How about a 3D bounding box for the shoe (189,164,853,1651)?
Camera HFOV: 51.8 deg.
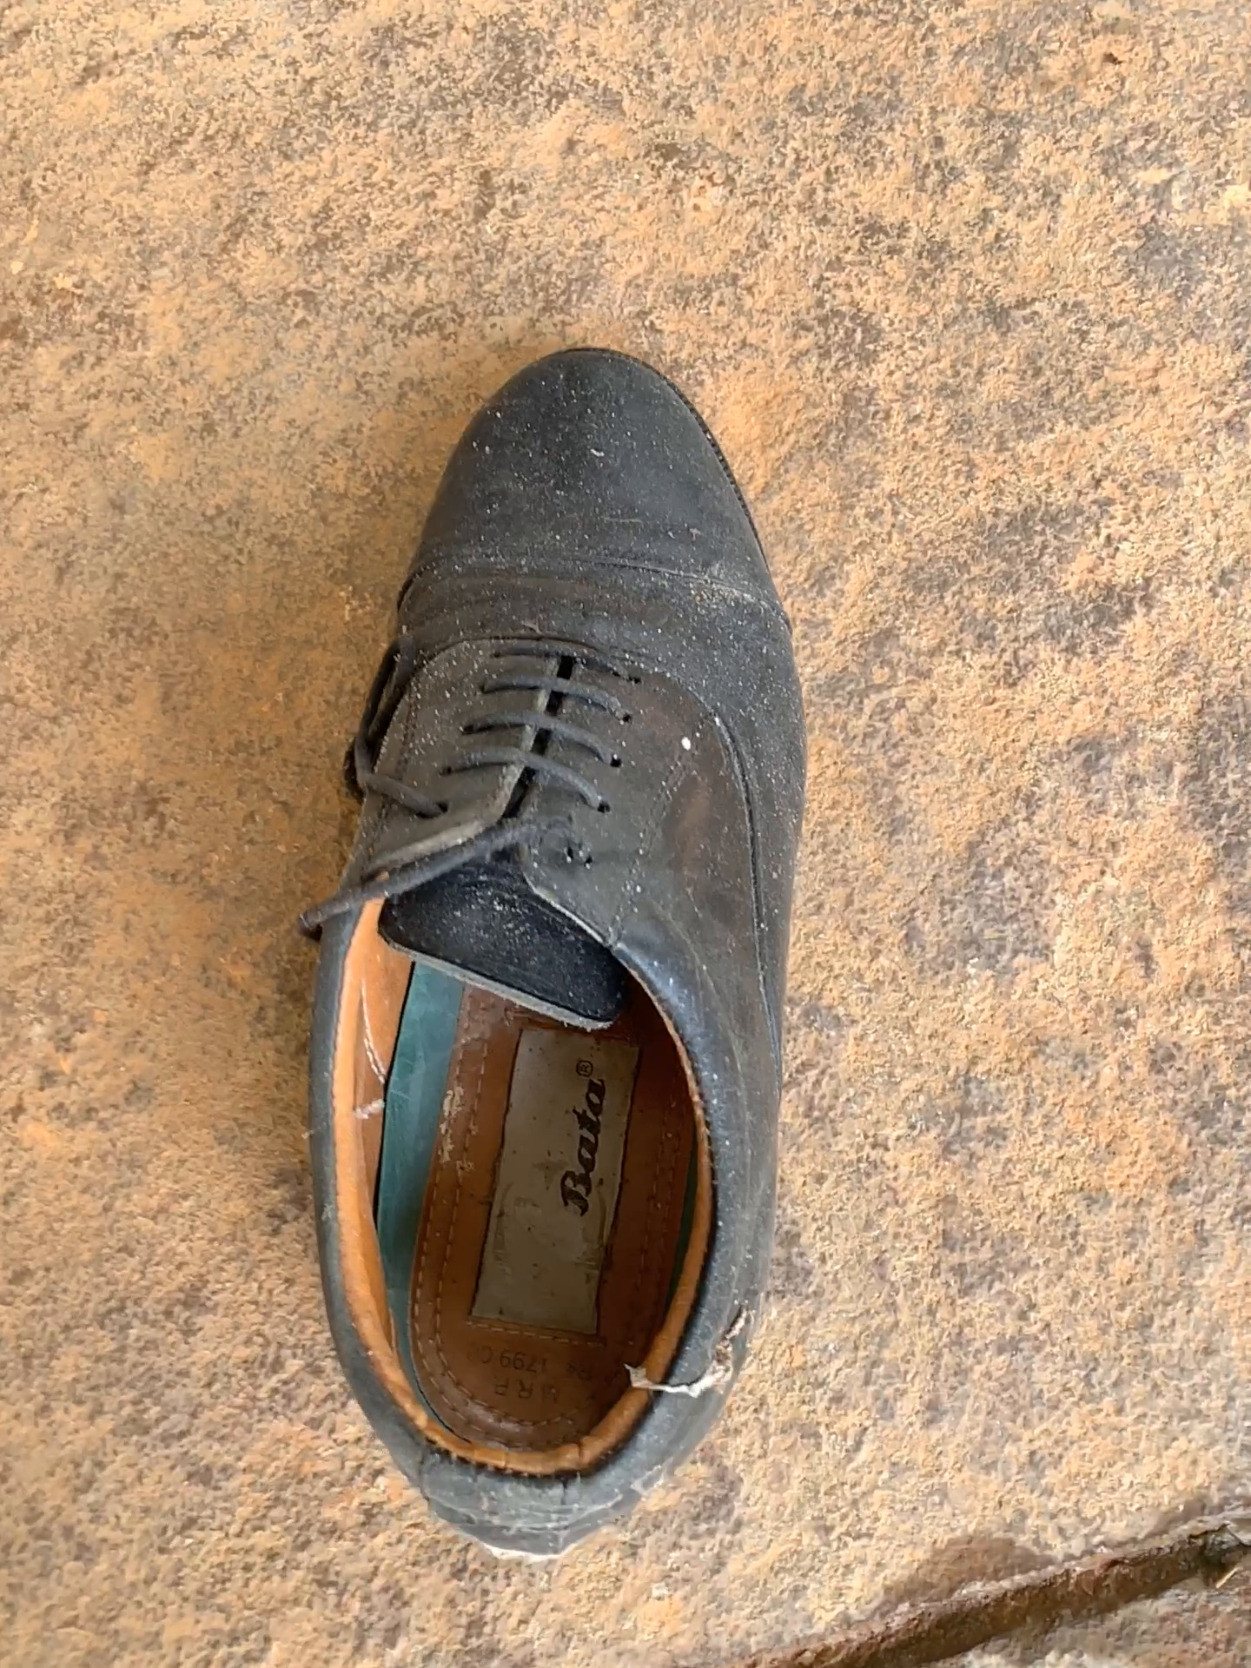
[{"bbox_3d":[-0.008,0.003,0.275,0.100,0.090,0.270,0,73,6],"label":"shoe"}]
